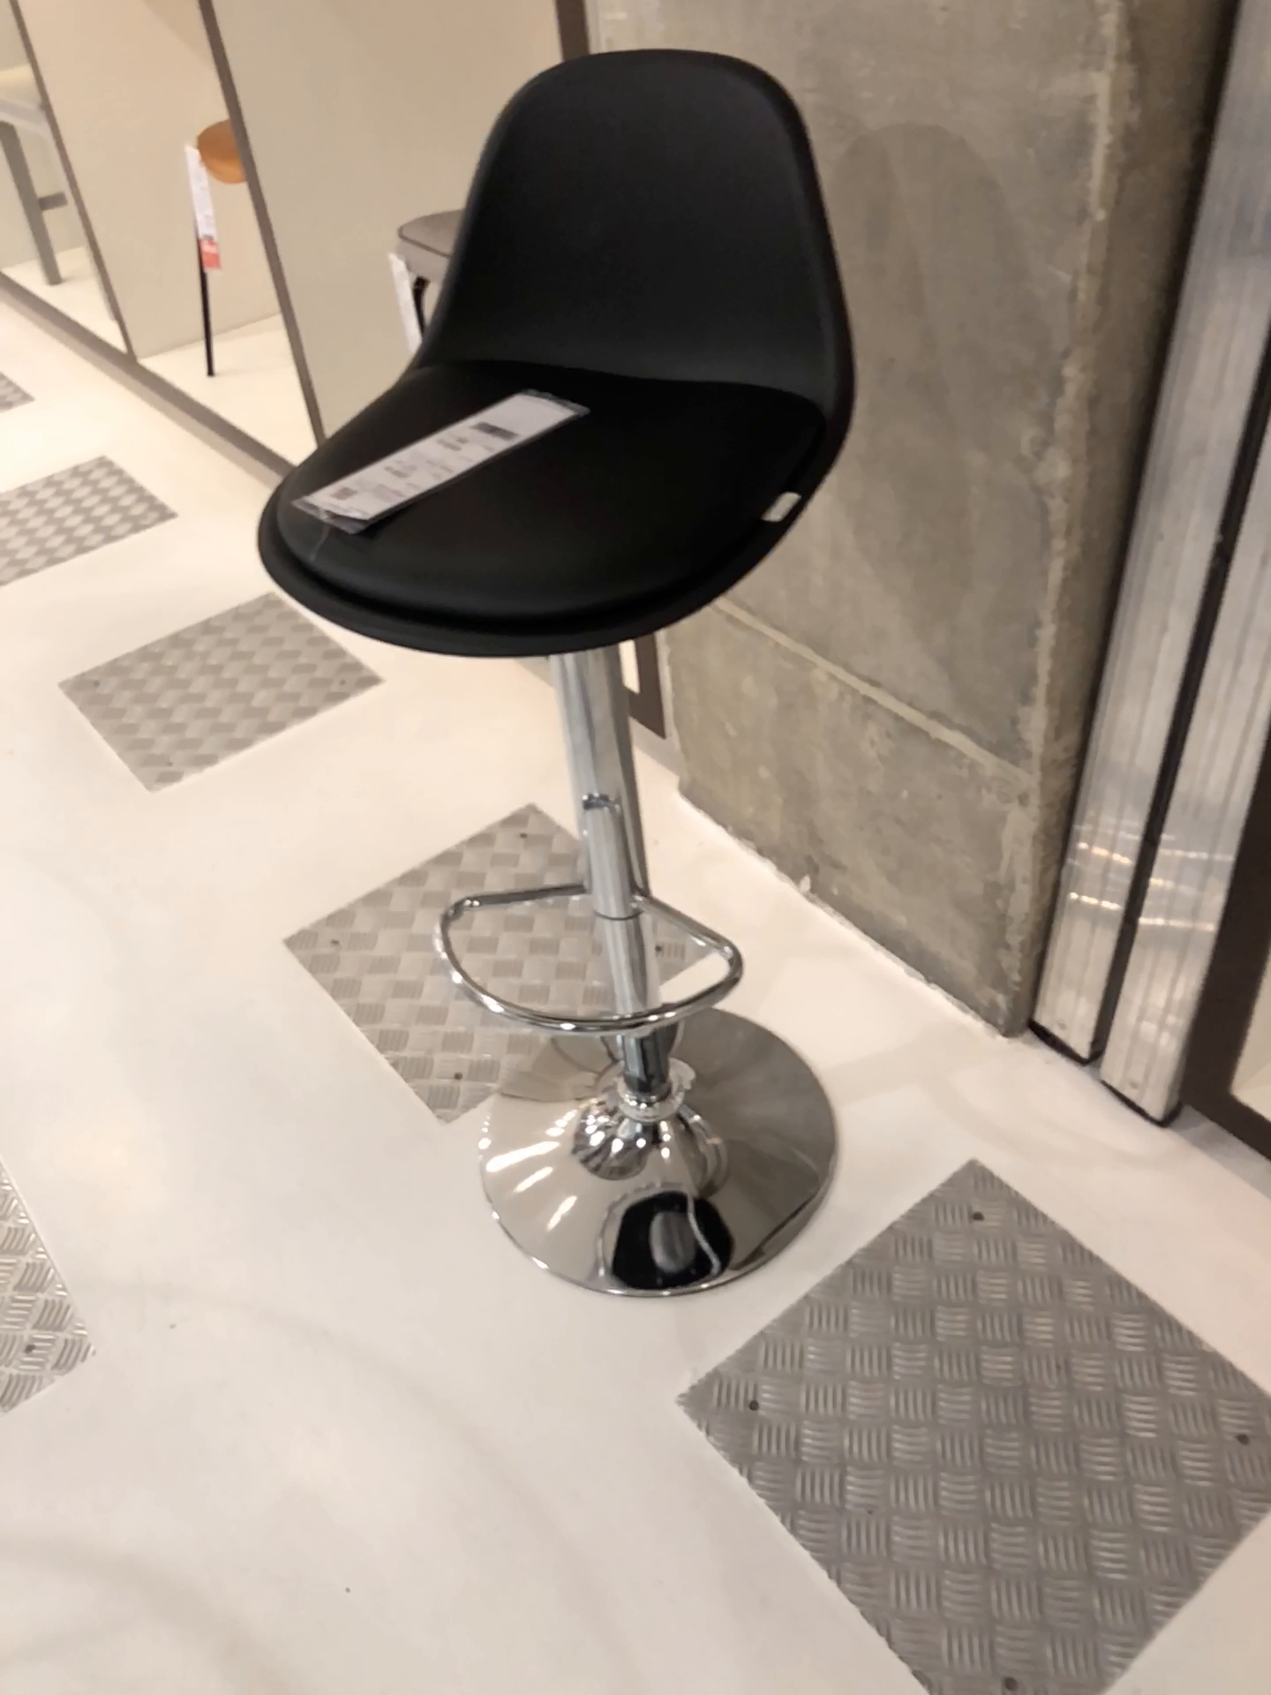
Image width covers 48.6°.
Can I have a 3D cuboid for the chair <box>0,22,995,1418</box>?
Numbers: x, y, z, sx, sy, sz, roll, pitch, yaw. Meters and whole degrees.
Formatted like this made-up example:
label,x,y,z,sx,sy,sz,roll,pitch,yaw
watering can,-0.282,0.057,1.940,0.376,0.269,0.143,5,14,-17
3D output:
label,x,y,z,sx,sy,sz,roll,pitch,yaw
chair,-0.025,-0.064,1.191,0.431,1.012,0.472,18,46,26
